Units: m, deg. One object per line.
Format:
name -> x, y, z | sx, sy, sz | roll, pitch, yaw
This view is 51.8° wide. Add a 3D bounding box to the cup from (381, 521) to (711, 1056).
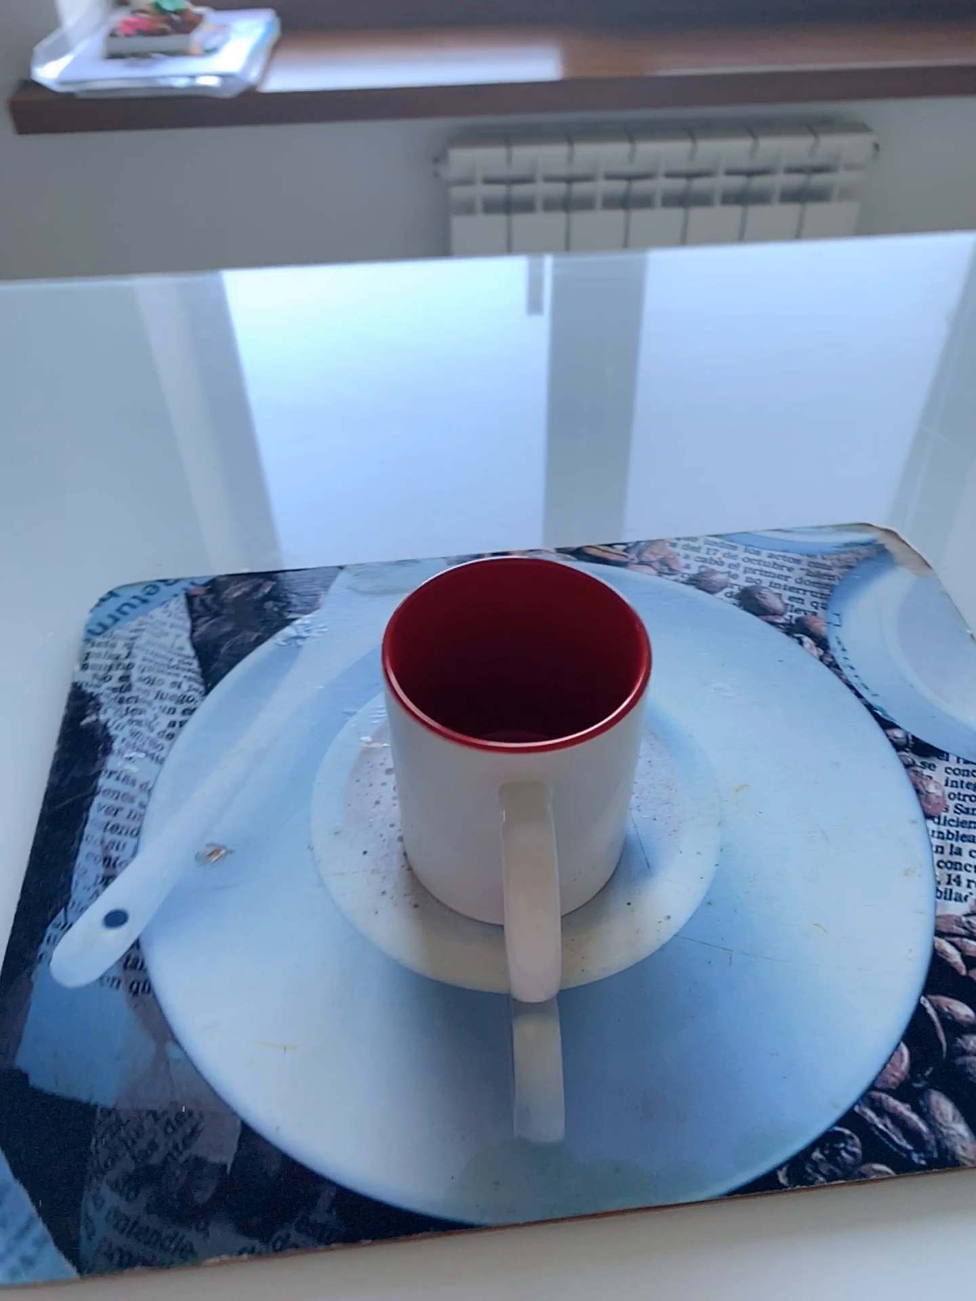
cup -> 0.011, 0.043, 0.316 | 0.077, 0.115, 0.117 | -3, 46, -2
